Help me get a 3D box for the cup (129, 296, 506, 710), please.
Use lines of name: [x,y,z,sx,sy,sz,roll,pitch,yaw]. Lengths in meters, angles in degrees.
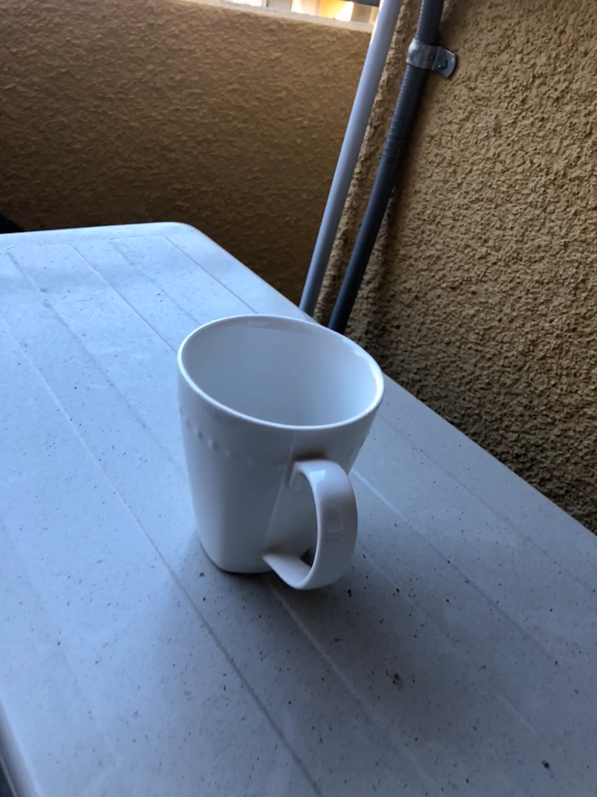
cup: [-0.007,0.033,0.298,0.100,0.099,0.141,-5,38,-26]
